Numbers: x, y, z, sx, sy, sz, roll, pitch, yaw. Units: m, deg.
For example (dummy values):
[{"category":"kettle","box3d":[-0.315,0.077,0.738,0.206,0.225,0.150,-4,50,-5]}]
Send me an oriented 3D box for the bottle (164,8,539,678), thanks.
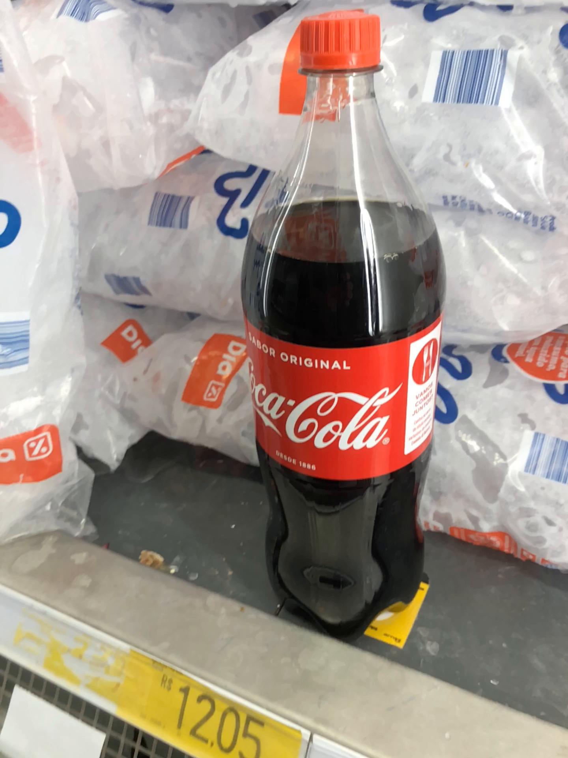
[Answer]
[{"category":"bottle","box3d":[0.029,-0.003,0.293,0.100,0.288,0.080,20,39,30]}]
